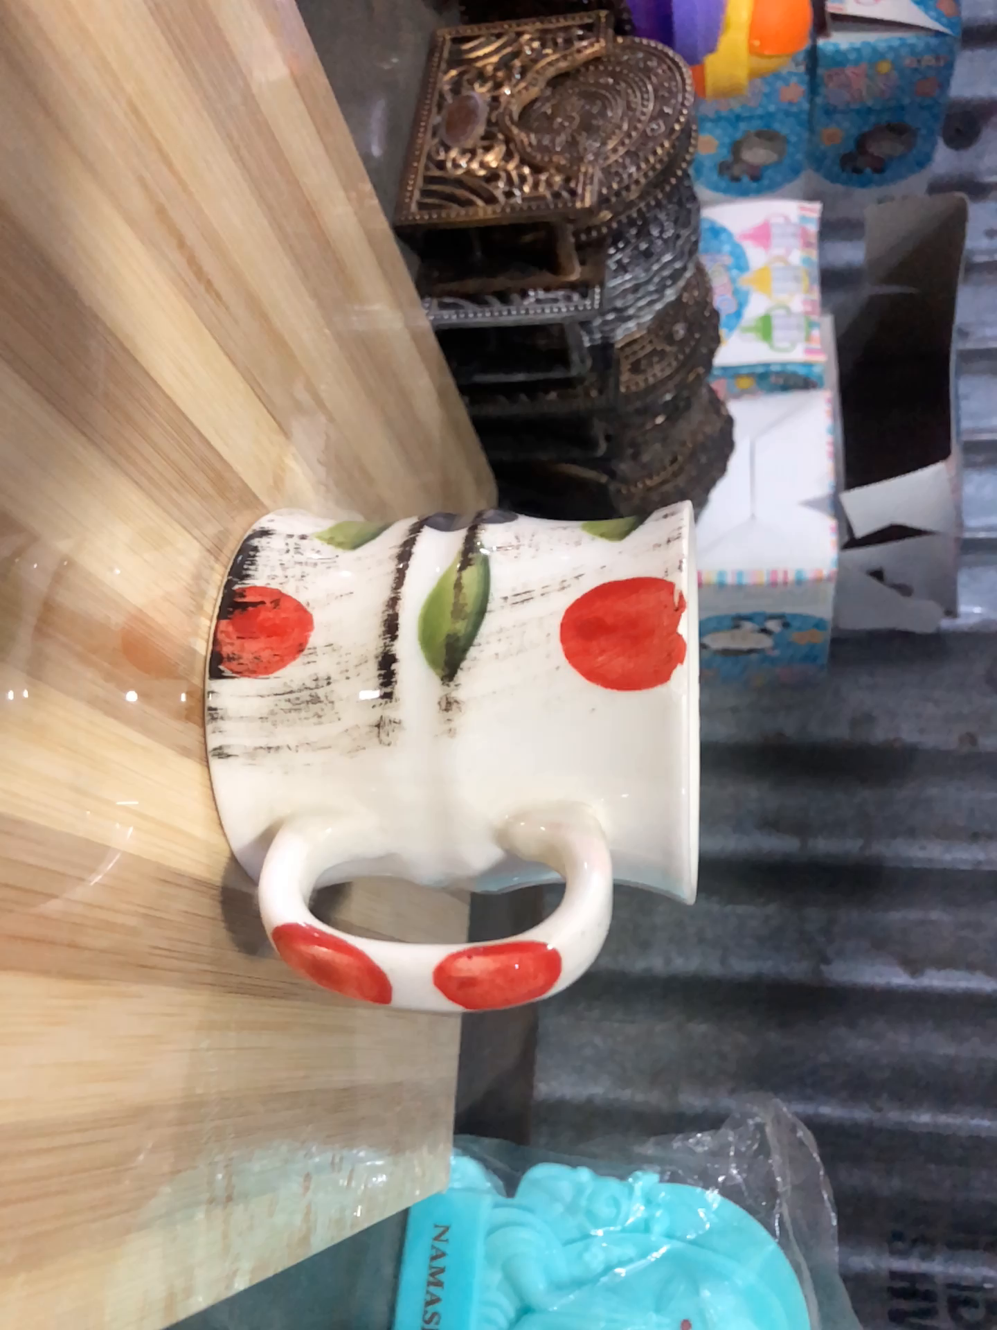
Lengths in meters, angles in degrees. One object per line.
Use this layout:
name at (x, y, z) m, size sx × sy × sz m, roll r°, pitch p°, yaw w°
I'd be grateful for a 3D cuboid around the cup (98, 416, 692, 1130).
cup at (-0.006, 0.018, 0.204) m, size 0.060 × 0.080 × 0.110 m, roll 74°, pitch 20°, yaw -57°
